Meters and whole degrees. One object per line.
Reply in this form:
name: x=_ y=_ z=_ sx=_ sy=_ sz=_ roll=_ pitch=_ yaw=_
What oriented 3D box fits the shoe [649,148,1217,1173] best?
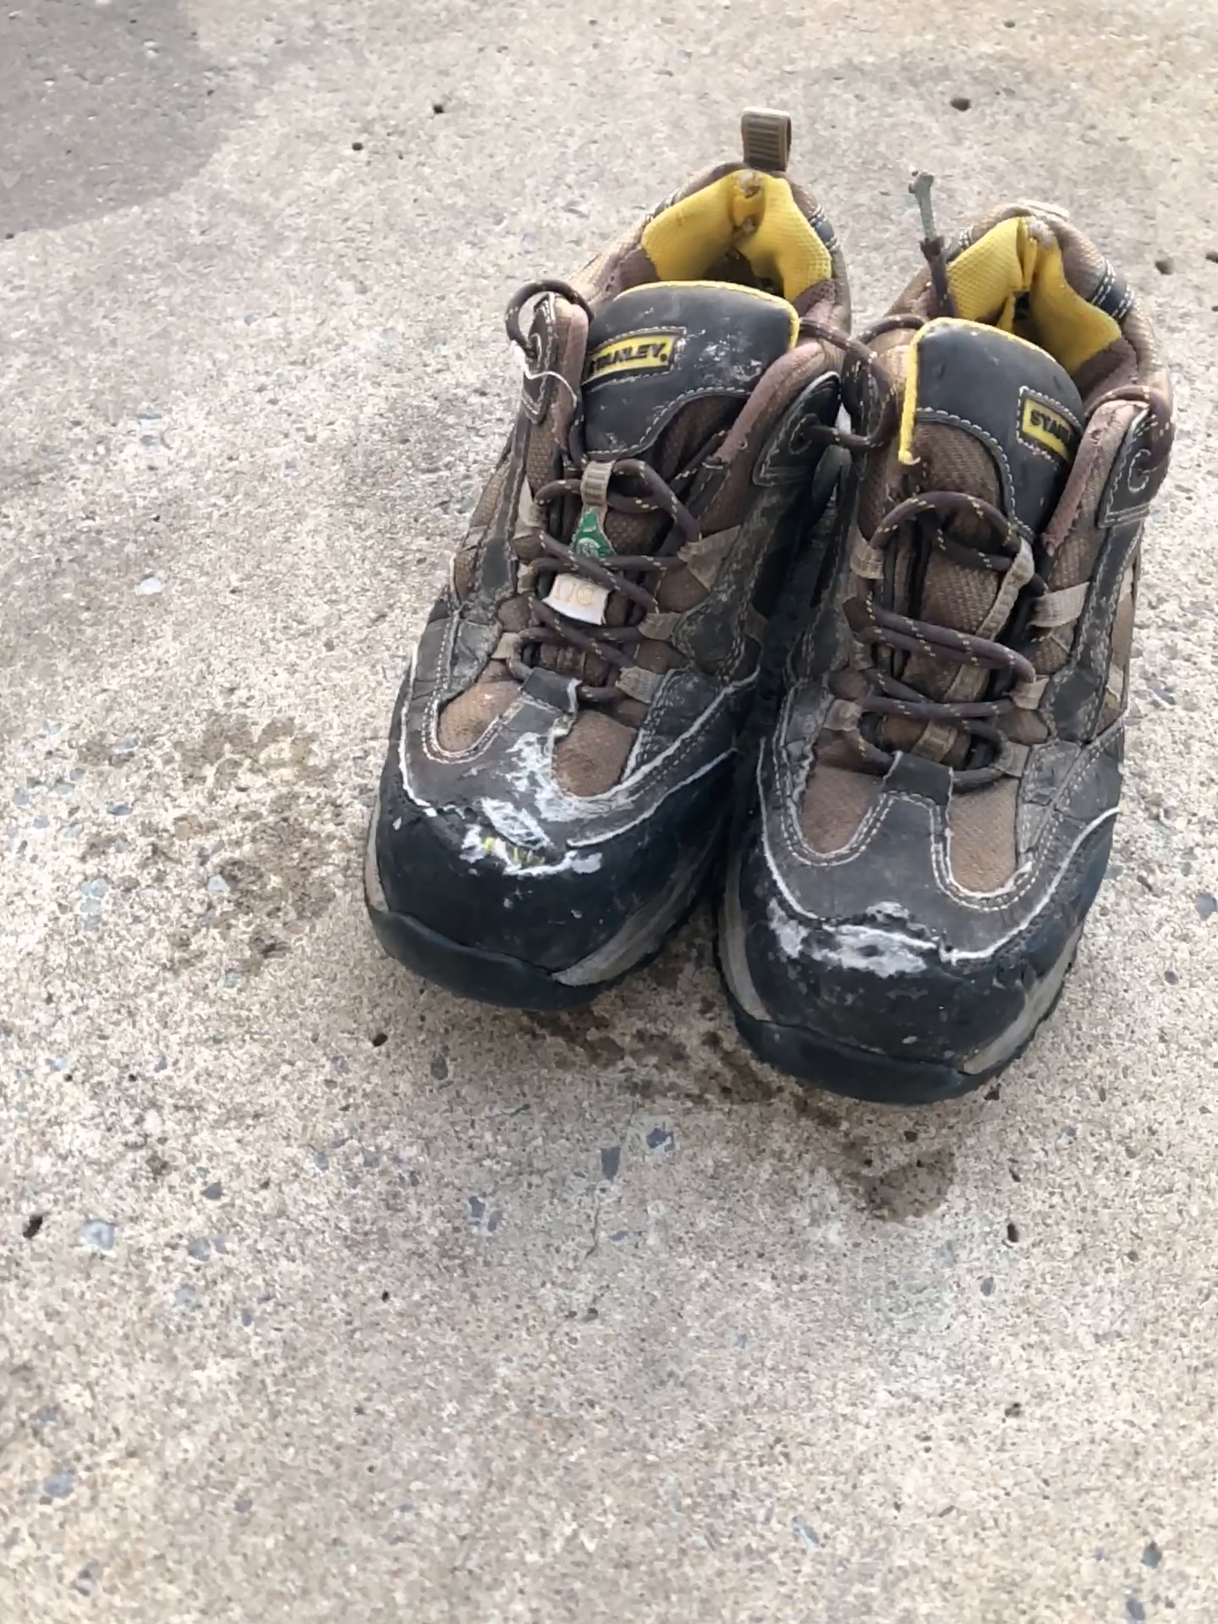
shoe: x=0.109 y=-0.041 z=0.405 sx=0.120 sy=0.169 sz=0.231 roll=18 pitch=63 yaw=10

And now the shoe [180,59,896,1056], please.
shoe: x=-0.005 y=-0.078 z=0.415 sx=0.100 sy=0.149 sz=0.251 roll=18 pitch=63 yaw=10
